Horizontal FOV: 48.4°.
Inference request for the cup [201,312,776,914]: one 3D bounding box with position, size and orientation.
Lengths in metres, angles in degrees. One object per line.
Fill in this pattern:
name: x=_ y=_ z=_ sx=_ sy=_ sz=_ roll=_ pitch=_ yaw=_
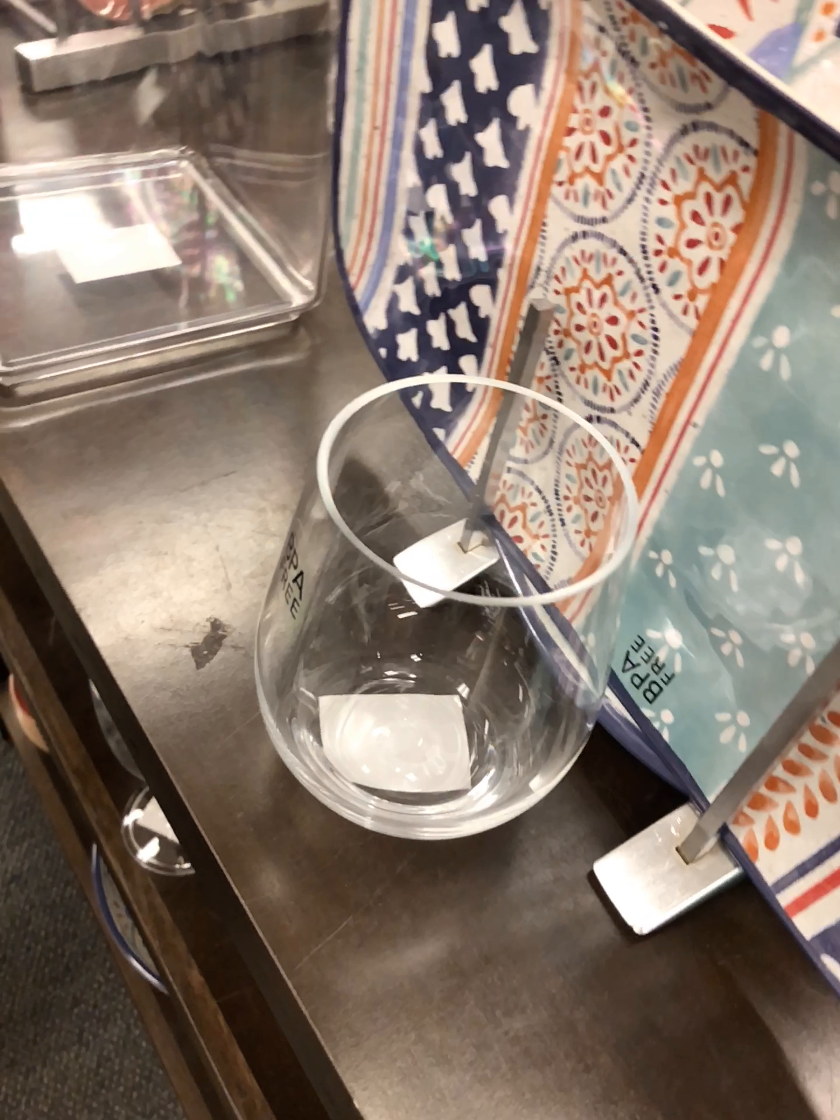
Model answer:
cup: x=0.006 y=0.011 z=0.241 sx=0.094 sy=0.097 sz=0.094 roll=6 pitch=49 yaw=-7
